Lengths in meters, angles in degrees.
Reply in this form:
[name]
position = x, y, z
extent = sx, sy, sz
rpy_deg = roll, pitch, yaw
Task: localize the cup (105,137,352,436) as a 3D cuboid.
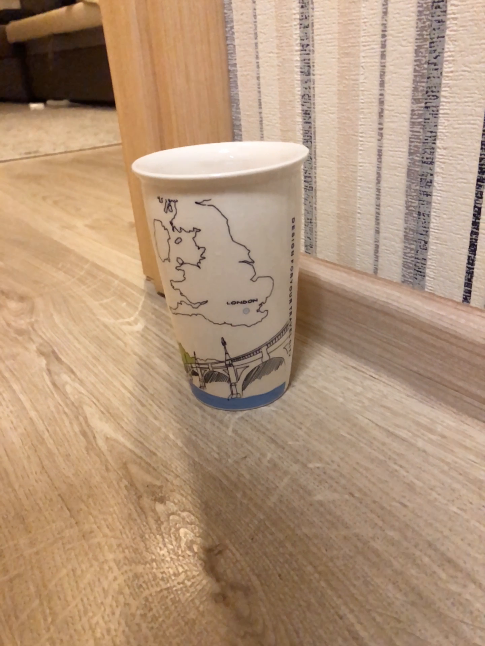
[cup]
position = 0.002, -0.028, 0.304
extent = 0.097, 0.133, 0.096
rpy_deg = -4, 26, 2
